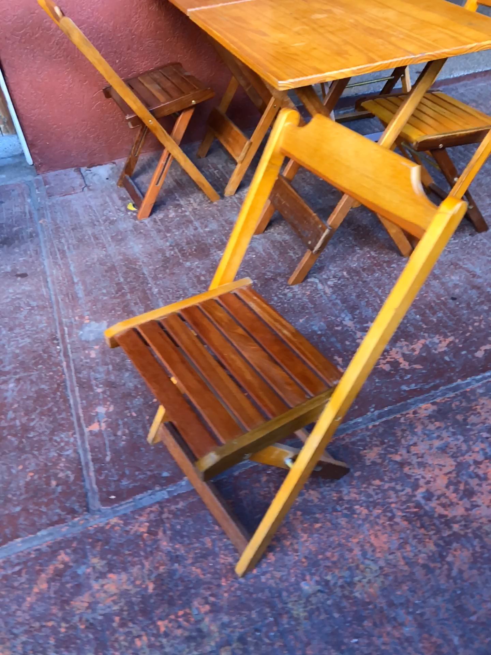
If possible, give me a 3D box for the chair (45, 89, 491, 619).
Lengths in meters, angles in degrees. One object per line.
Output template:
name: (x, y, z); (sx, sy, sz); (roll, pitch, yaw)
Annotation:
chair: (0.037, 0.061, 0.988); (0.471, 0.735, 0.452); (-26, 50, -24)
